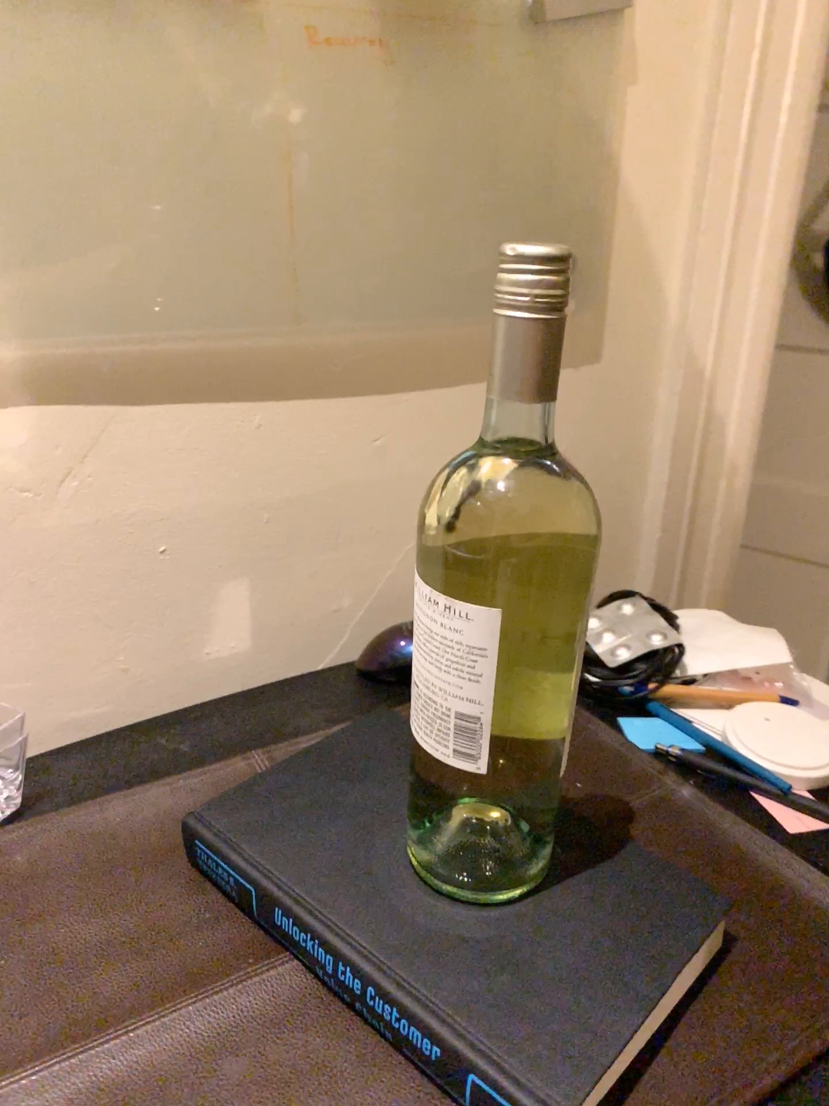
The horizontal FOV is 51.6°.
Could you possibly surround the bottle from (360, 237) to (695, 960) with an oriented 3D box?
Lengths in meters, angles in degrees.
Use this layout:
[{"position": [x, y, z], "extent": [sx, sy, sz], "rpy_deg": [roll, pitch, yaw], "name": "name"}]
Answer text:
[{"position": [0.038, 0.020, 0.385], "extent": [0.090, 0.298, 0.090], "rpy_deg": [1, 22, -1], "name": "bottle"}]
